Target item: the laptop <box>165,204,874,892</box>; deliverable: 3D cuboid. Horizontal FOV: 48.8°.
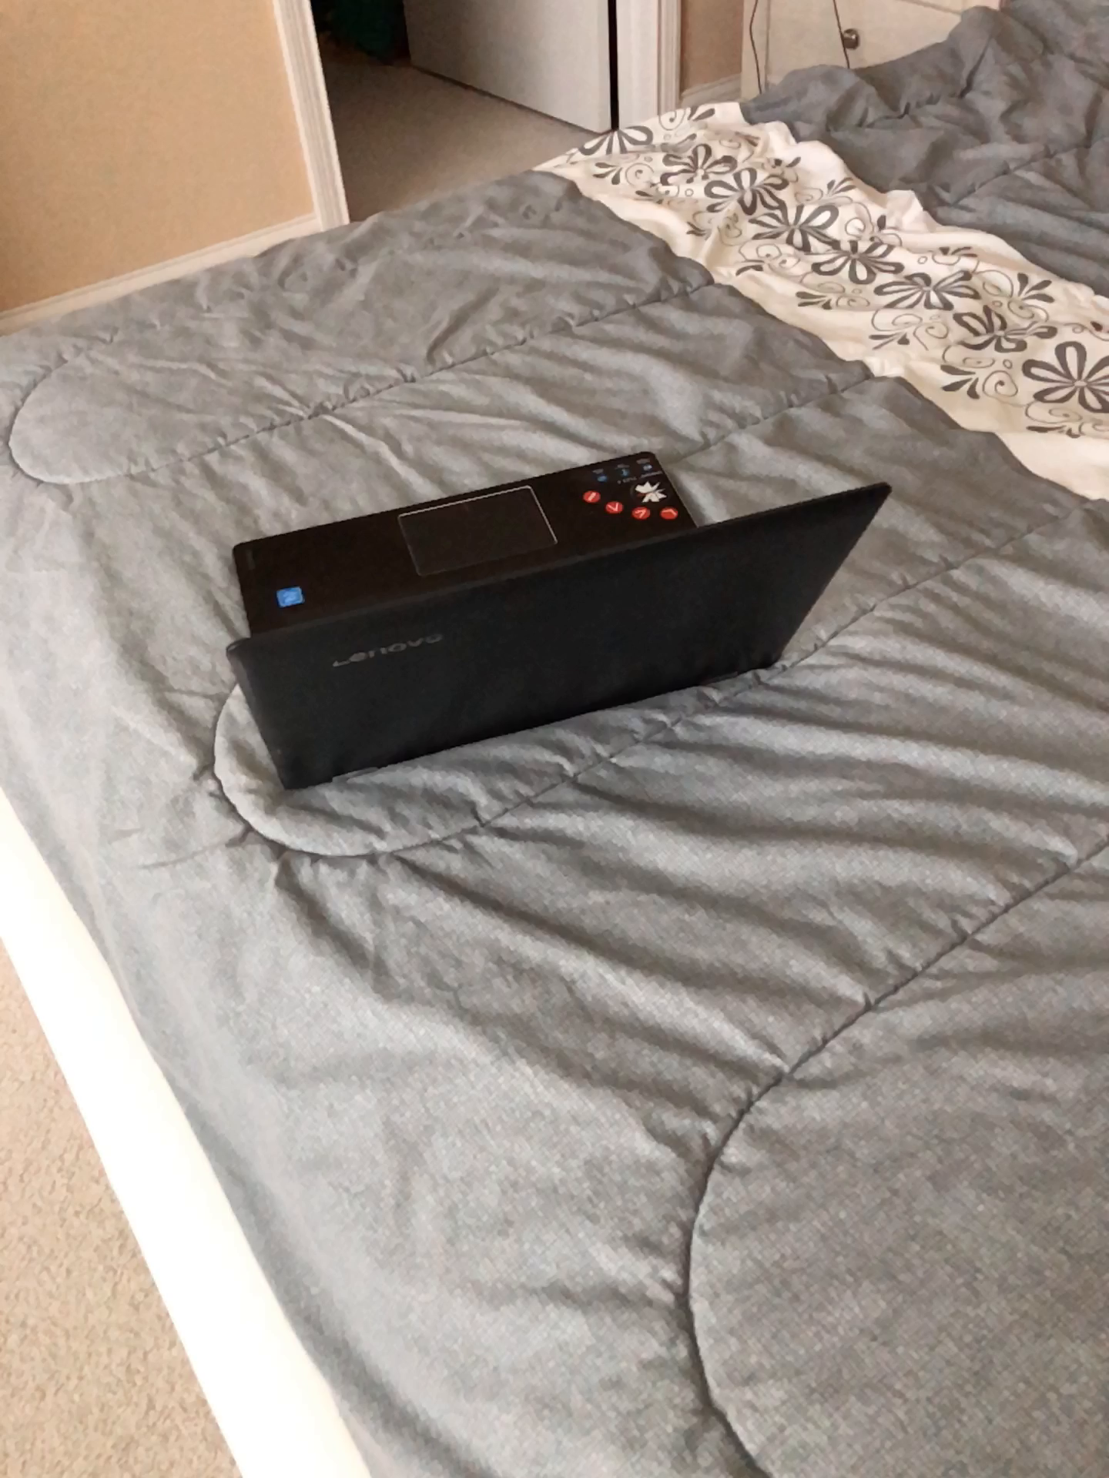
[{"bbox_3d":[-0.040,-0.150,0.841,0.361,0.214,0.353,-15,49,-9],"label":"laptop"}]
